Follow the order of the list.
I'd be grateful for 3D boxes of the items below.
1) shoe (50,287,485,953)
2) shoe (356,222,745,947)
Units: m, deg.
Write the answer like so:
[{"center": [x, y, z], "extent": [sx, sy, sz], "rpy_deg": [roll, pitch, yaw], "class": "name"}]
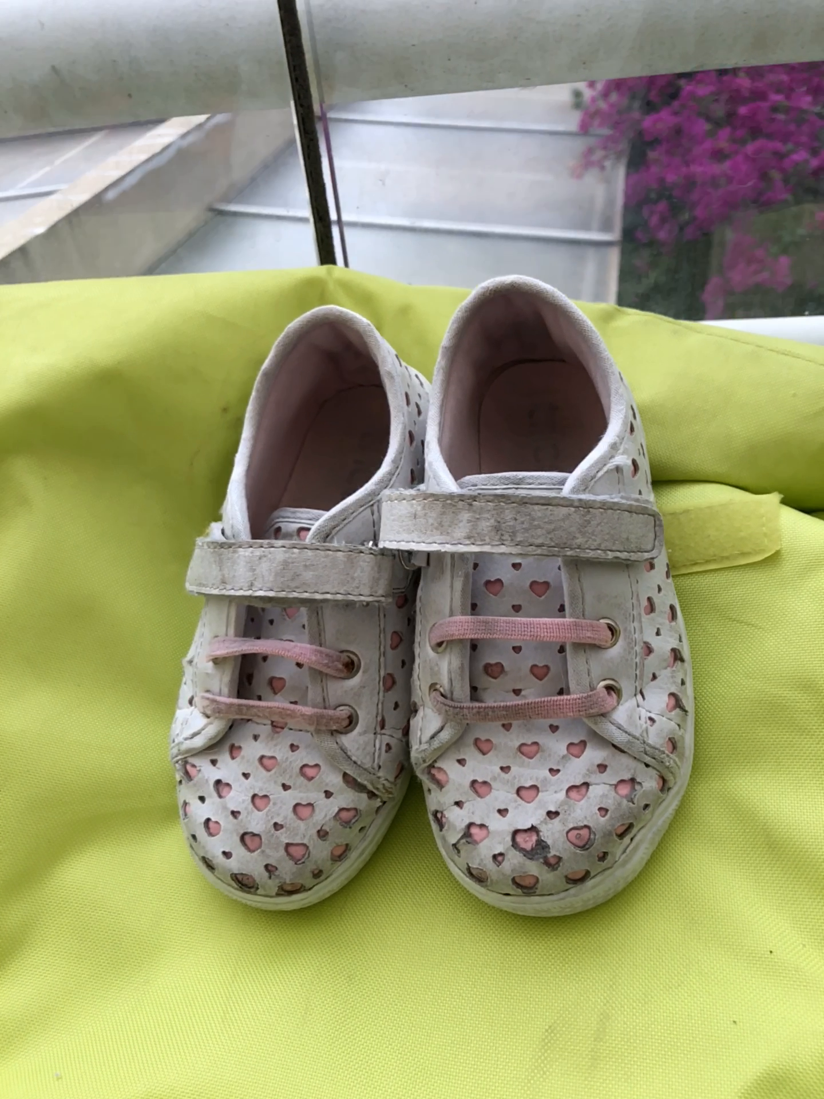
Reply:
[{"center": [-0.036, 0.015, 0.279], "extent": [0.080, 0.060, 0.176], "rpy_deg": [6, 77, 17], "class": "shoe"}, {"center": [0.037, 0.006, 0.248], "extent": [0.080, 0.060, 0.176], "rpy_deg": [0, 71, 10], "class": "shoe"}]
